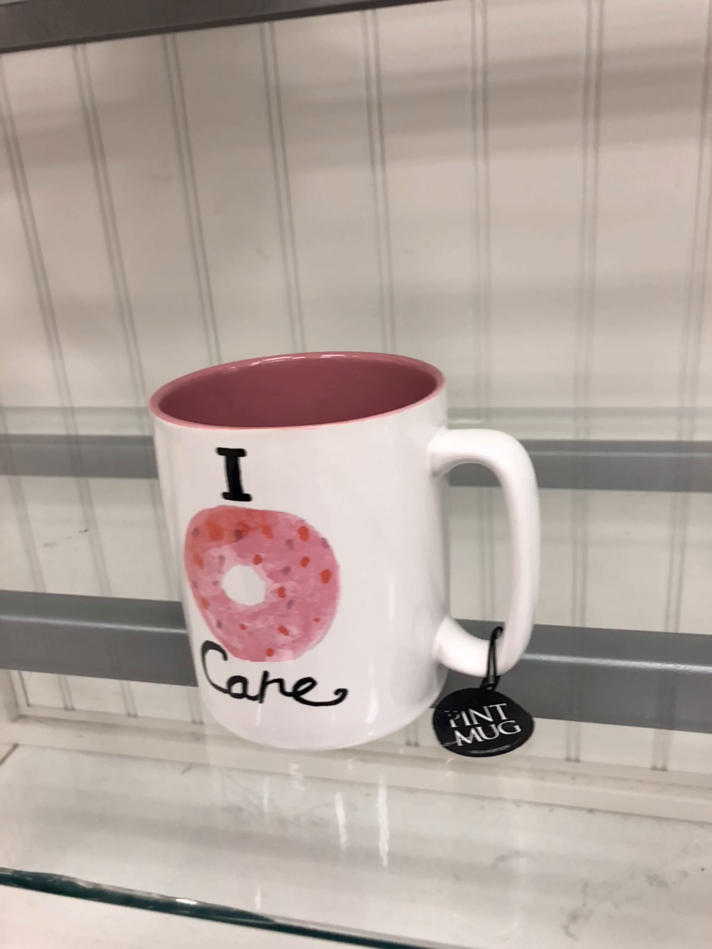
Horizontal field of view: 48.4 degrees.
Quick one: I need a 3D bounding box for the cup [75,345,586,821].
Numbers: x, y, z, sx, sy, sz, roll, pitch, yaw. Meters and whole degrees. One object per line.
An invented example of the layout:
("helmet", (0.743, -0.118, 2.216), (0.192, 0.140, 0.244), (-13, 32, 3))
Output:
("cup", (0.001, 0.023, 0.276), (0.137, 0.112, 0.101), (5, 23, 23))
